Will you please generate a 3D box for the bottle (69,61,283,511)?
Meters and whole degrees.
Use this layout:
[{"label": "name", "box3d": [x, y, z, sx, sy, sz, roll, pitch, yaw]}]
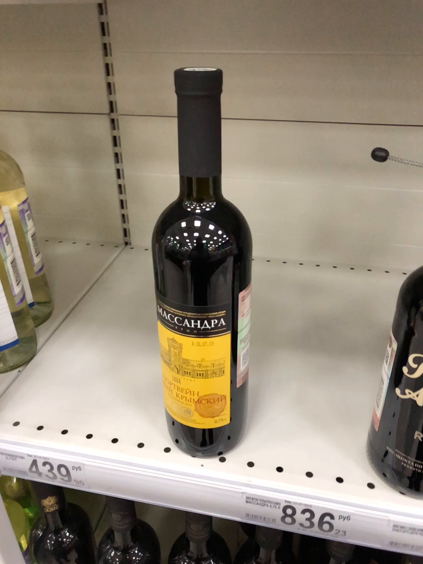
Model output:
[{"label": "bottle", "box3d": [-0.017, 0.015, 0.383, 0.100, 0.348, 0.100, 0, 29, 0]}]
